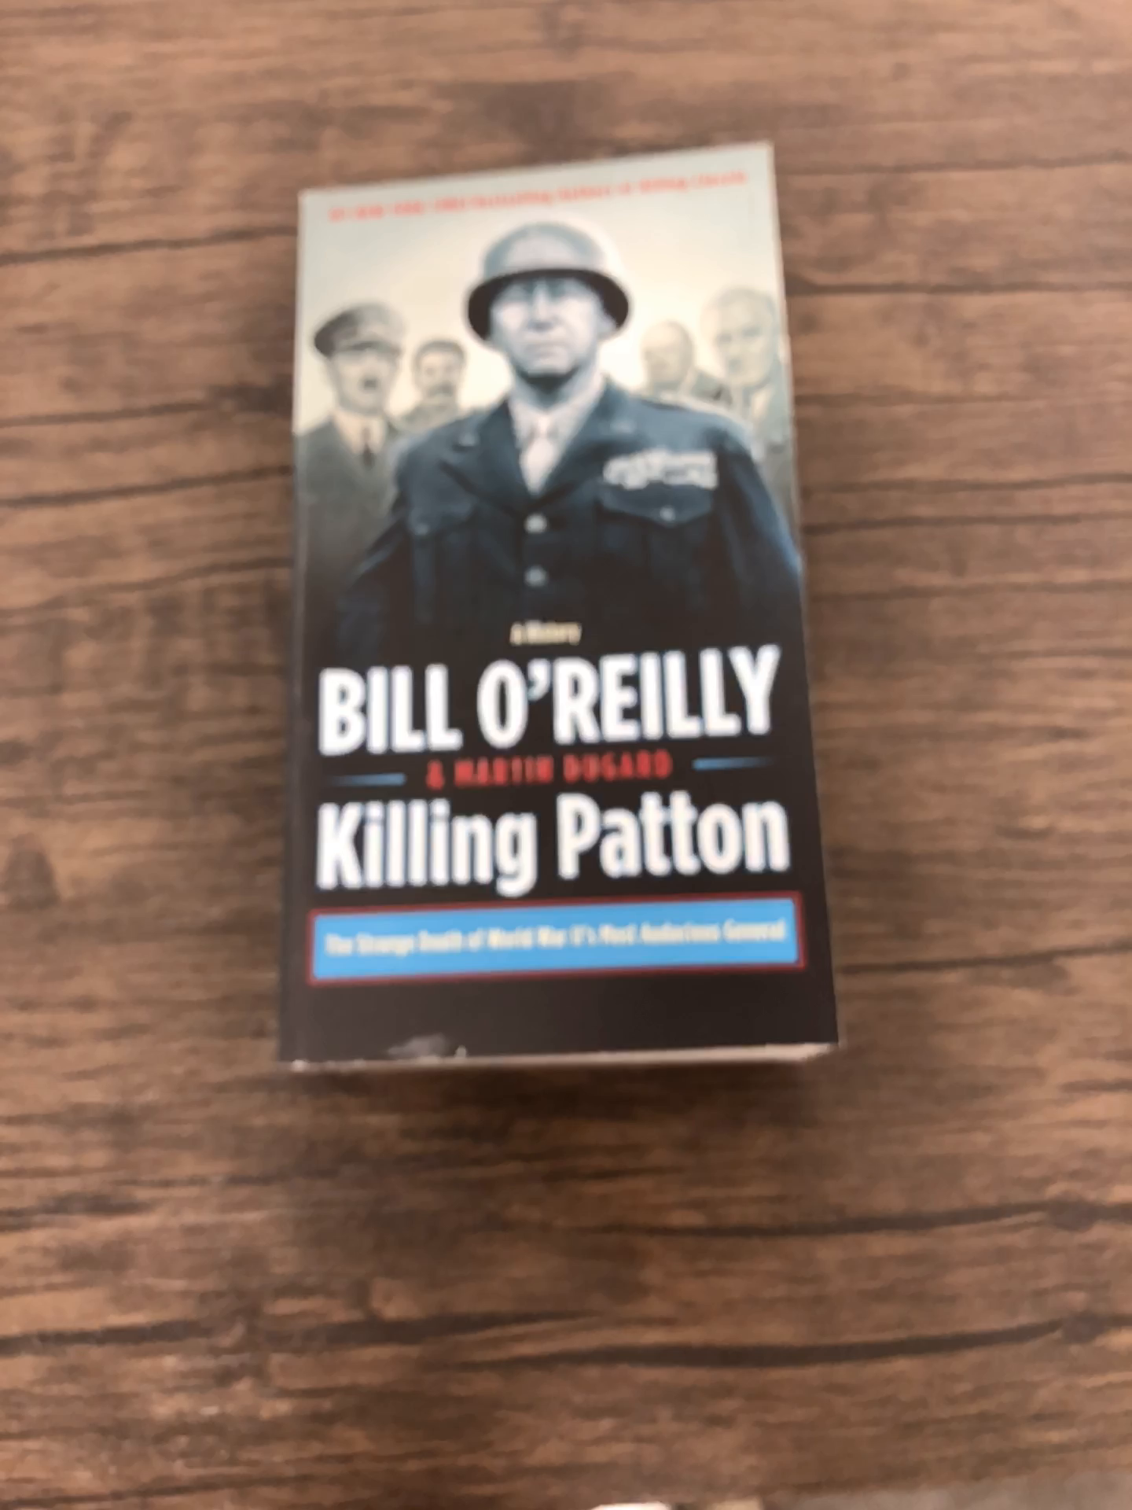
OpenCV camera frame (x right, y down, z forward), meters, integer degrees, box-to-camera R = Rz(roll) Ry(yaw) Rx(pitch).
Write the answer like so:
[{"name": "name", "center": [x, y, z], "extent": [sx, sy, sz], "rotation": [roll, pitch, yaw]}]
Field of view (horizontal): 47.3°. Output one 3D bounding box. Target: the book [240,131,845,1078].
[{"name": "book", "center": [-0.006, -0.029, 0.264], "extent": [0.105, 0.040, 0.182], "rotation": [-3, 76, 7]}]
